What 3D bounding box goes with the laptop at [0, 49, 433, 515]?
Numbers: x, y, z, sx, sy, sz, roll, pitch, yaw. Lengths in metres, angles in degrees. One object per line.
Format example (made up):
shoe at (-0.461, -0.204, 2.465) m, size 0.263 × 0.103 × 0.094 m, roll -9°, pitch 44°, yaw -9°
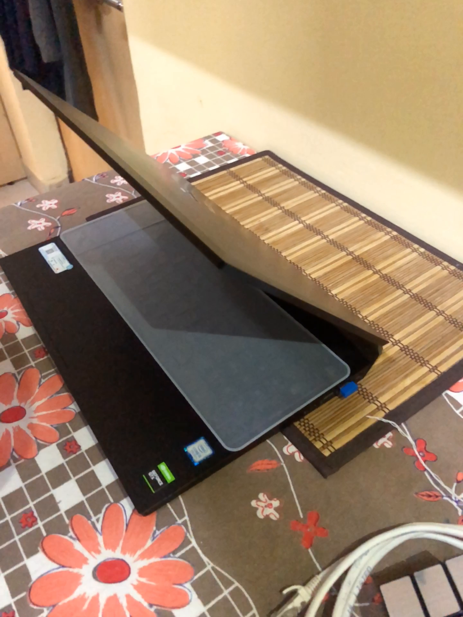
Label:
laptop at (-0.064, -0.068, 0.454) m, size 0.237 × 0.164 × 0.357 m, roll -29°, pitch 47°, yaw -20°
